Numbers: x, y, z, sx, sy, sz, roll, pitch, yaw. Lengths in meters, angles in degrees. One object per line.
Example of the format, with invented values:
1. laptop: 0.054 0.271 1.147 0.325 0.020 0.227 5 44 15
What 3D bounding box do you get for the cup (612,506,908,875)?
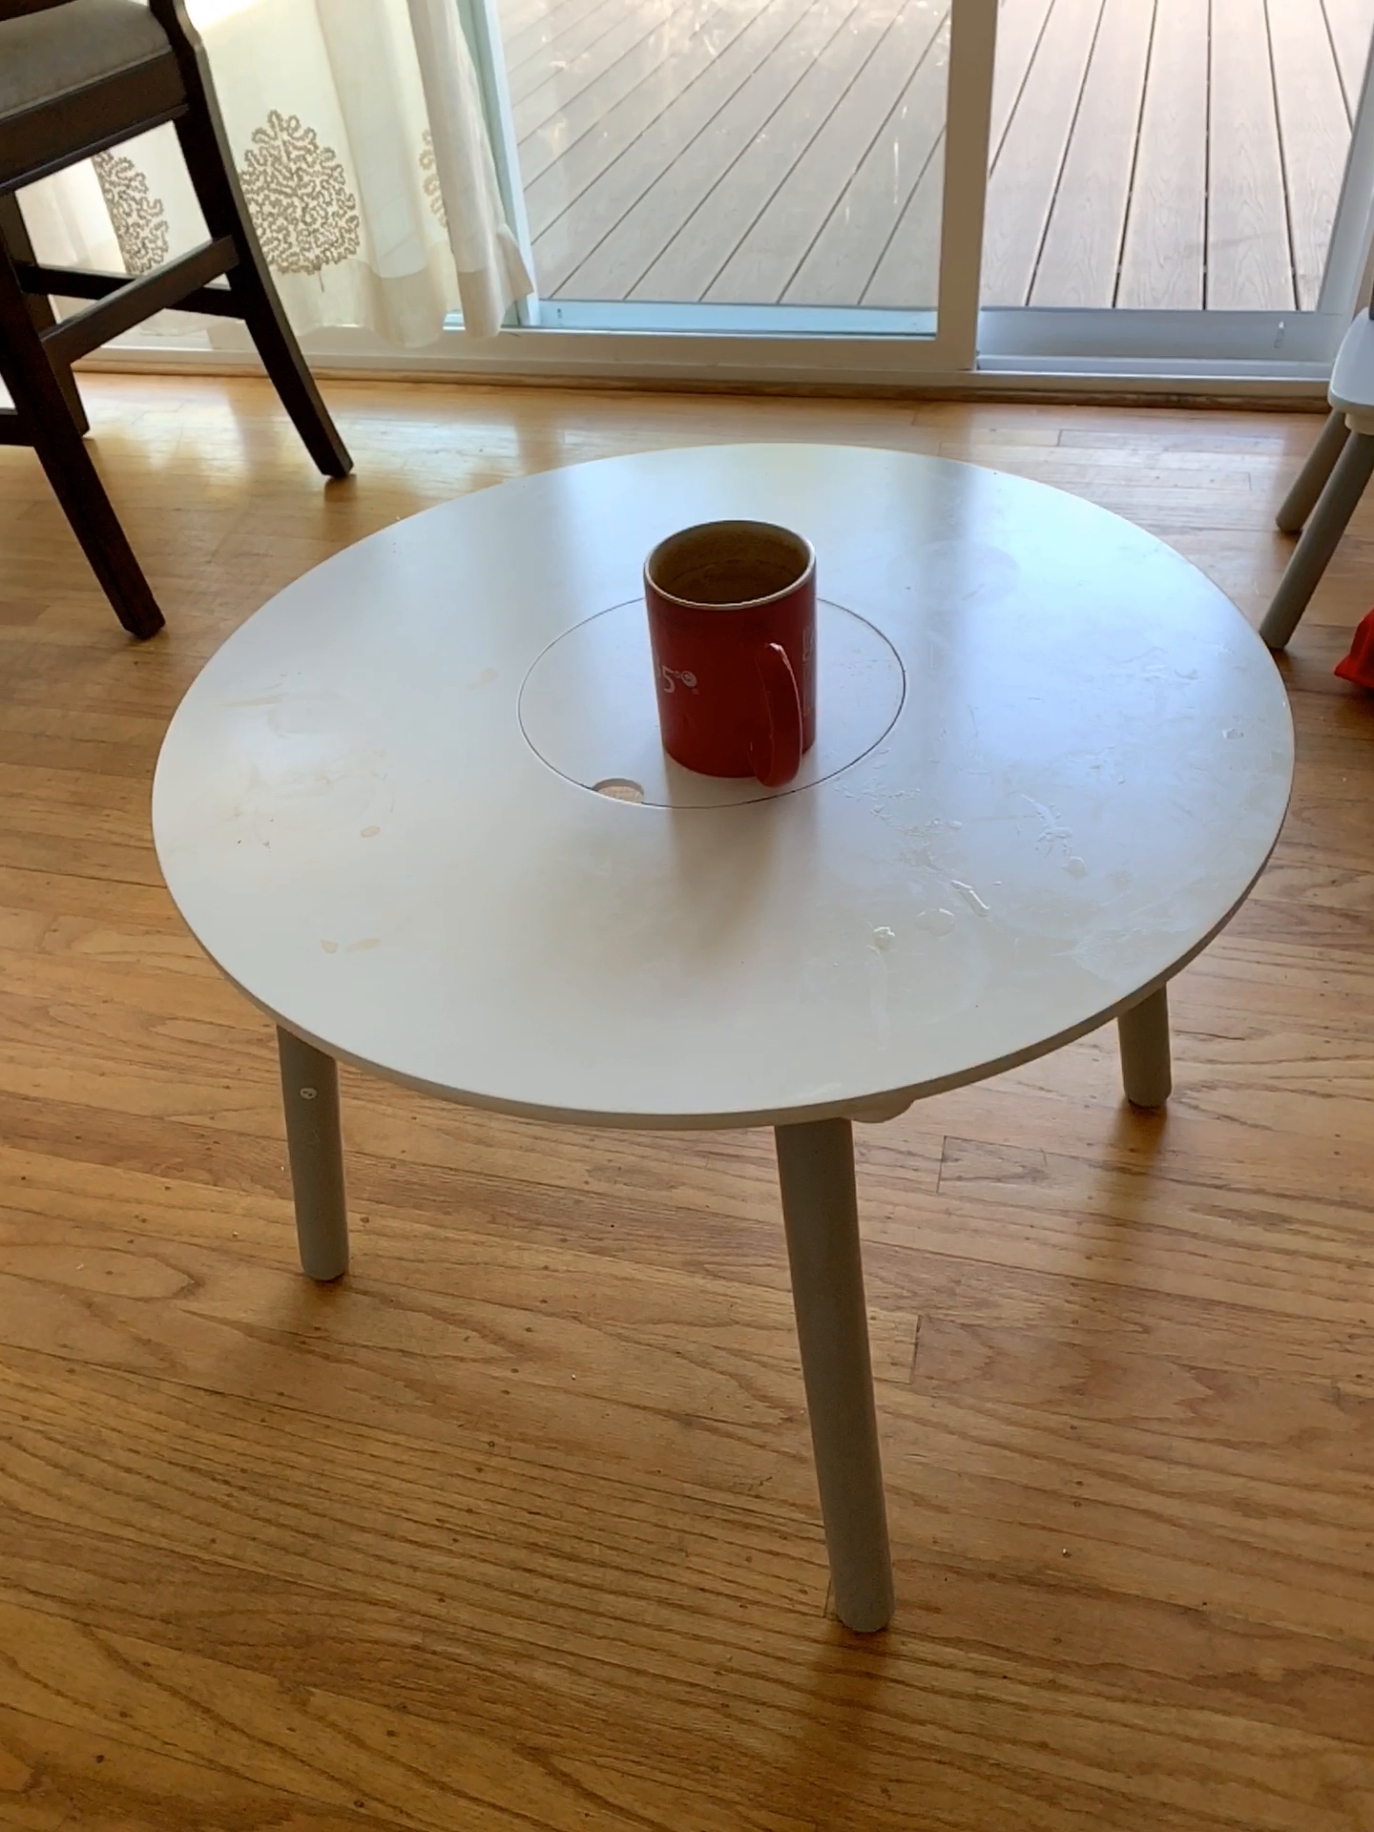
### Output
1. cup: 0.034 -0.115 0.697 0.090 0.099 0.151 -17 44 -11
